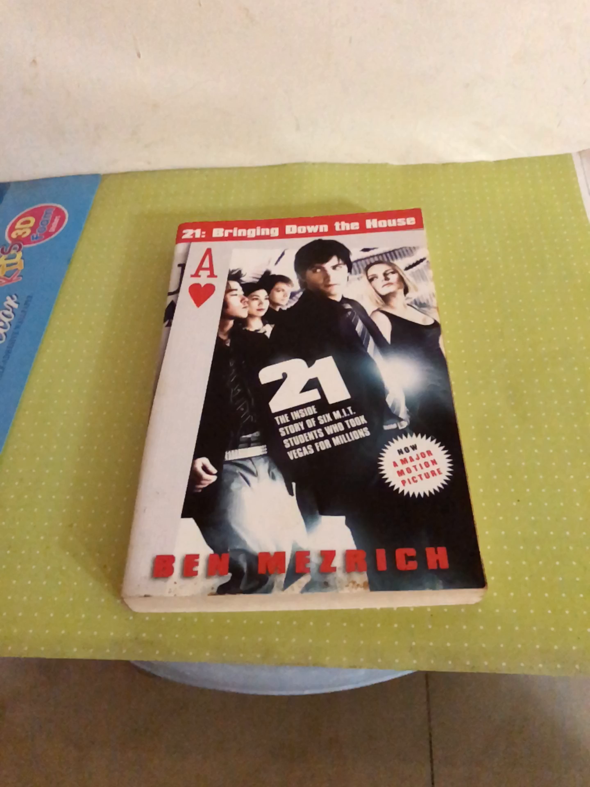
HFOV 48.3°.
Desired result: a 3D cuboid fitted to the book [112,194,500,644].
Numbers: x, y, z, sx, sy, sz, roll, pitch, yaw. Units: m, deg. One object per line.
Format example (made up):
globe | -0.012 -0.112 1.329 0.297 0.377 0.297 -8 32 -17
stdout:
book | 0.003 -0.003 0.298 0.130 0.040 0.211 -3 54 3
